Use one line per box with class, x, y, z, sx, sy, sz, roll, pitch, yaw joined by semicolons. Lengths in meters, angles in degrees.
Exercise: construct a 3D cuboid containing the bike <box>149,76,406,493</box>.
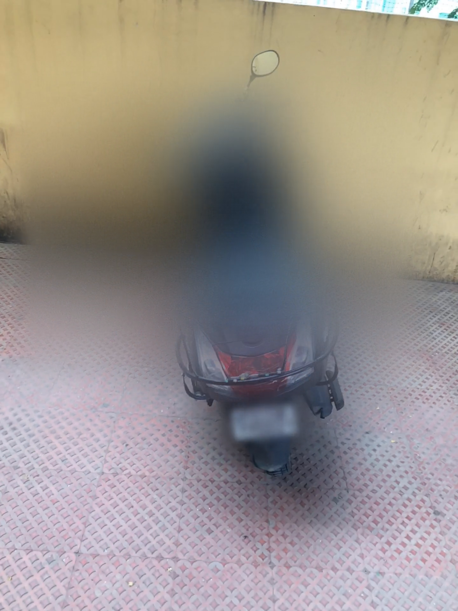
bike;0.011;-0.245;2.079;0.593;1.044;1.593;2;32;-7
